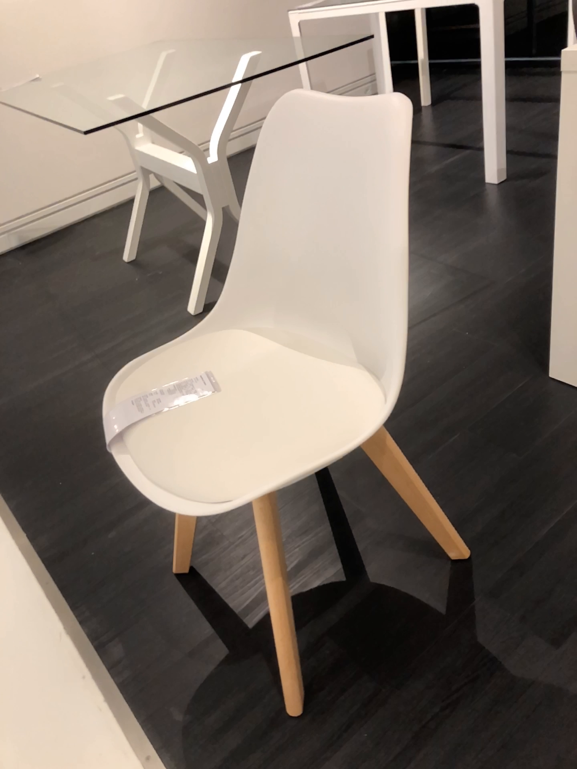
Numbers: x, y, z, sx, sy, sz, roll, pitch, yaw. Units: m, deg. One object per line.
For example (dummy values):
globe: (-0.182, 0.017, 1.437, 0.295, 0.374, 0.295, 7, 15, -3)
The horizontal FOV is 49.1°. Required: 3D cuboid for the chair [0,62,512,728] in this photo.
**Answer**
chair: (-0.025, -0.019, 1.024, 0.531, 0.784, 0.503, -31, 37, -24)
